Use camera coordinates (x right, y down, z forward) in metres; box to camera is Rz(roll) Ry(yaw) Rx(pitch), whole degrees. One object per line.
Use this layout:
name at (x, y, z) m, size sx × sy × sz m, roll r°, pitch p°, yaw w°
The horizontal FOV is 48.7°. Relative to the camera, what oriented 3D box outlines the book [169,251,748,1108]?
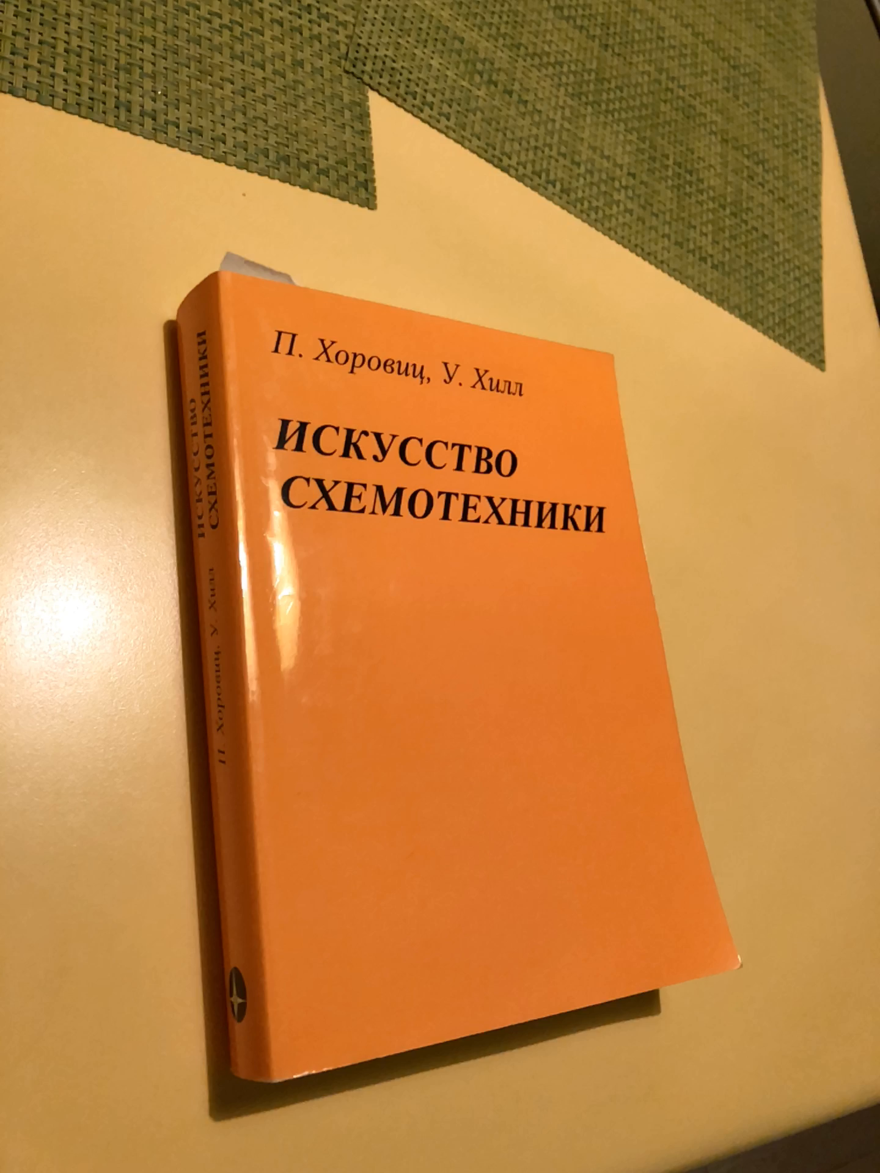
book at (0.005, 0.022, 0.331) m, size 0.171 × 0.048 × 0.238 m, roll 3°, pitch 72°, yaw -33°
